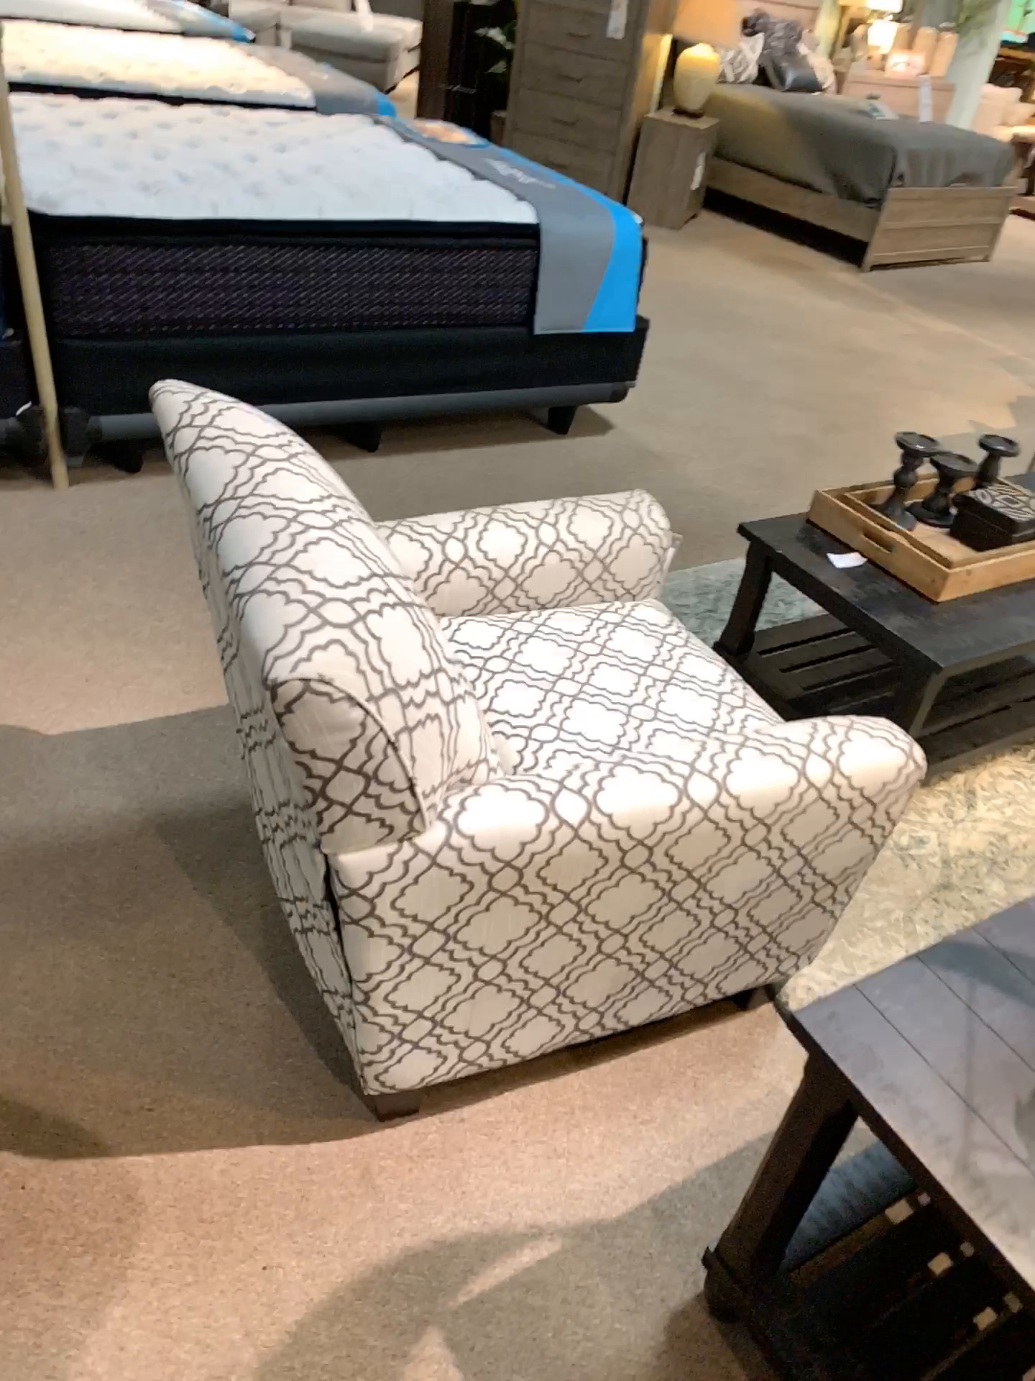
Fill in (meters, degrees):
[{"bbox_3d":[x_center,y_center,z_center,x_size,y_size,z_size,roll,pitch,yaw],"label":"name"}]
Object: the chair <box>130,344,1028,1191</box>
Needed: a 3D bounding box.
[{"bbox_3d":[-0.024,0.018,1.689,0.965,0.846,0.878,-8,39,-24],"label":"chair"}]
